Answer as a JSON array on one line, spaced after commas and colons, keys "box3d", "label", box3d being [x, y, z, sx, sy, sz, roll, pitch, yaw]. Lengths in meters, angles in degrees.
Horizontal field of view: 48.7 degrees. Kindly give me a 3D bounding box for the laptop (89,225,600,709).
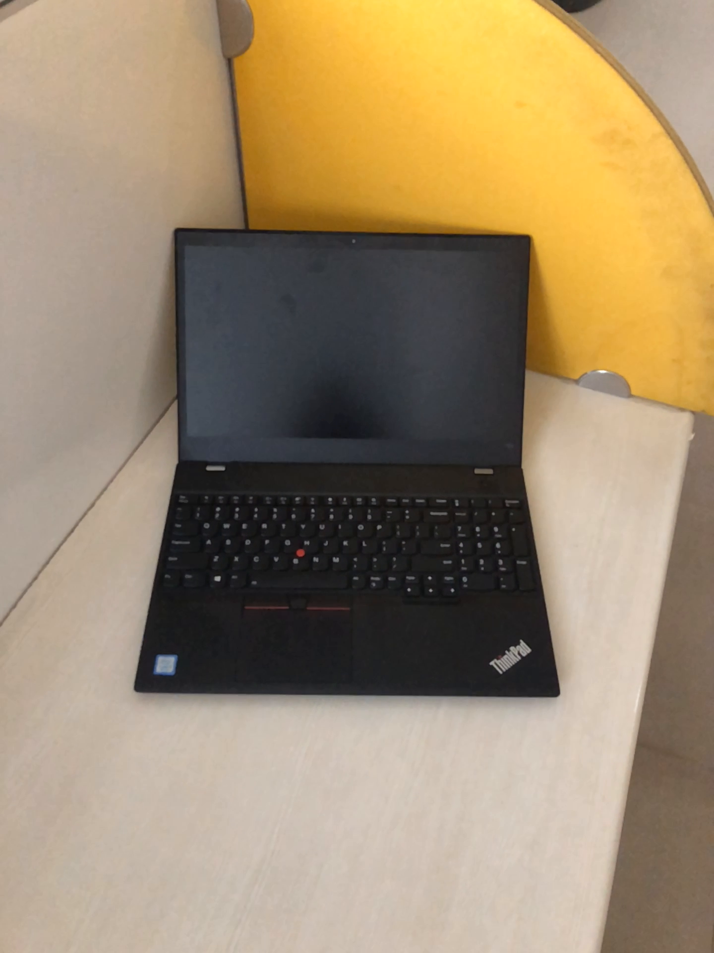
[{"box3d": [-0.010, -0.029, 0.716, 0.344, 0.150, 0.422, 1, 53, -2], "label": "laptop"}]
